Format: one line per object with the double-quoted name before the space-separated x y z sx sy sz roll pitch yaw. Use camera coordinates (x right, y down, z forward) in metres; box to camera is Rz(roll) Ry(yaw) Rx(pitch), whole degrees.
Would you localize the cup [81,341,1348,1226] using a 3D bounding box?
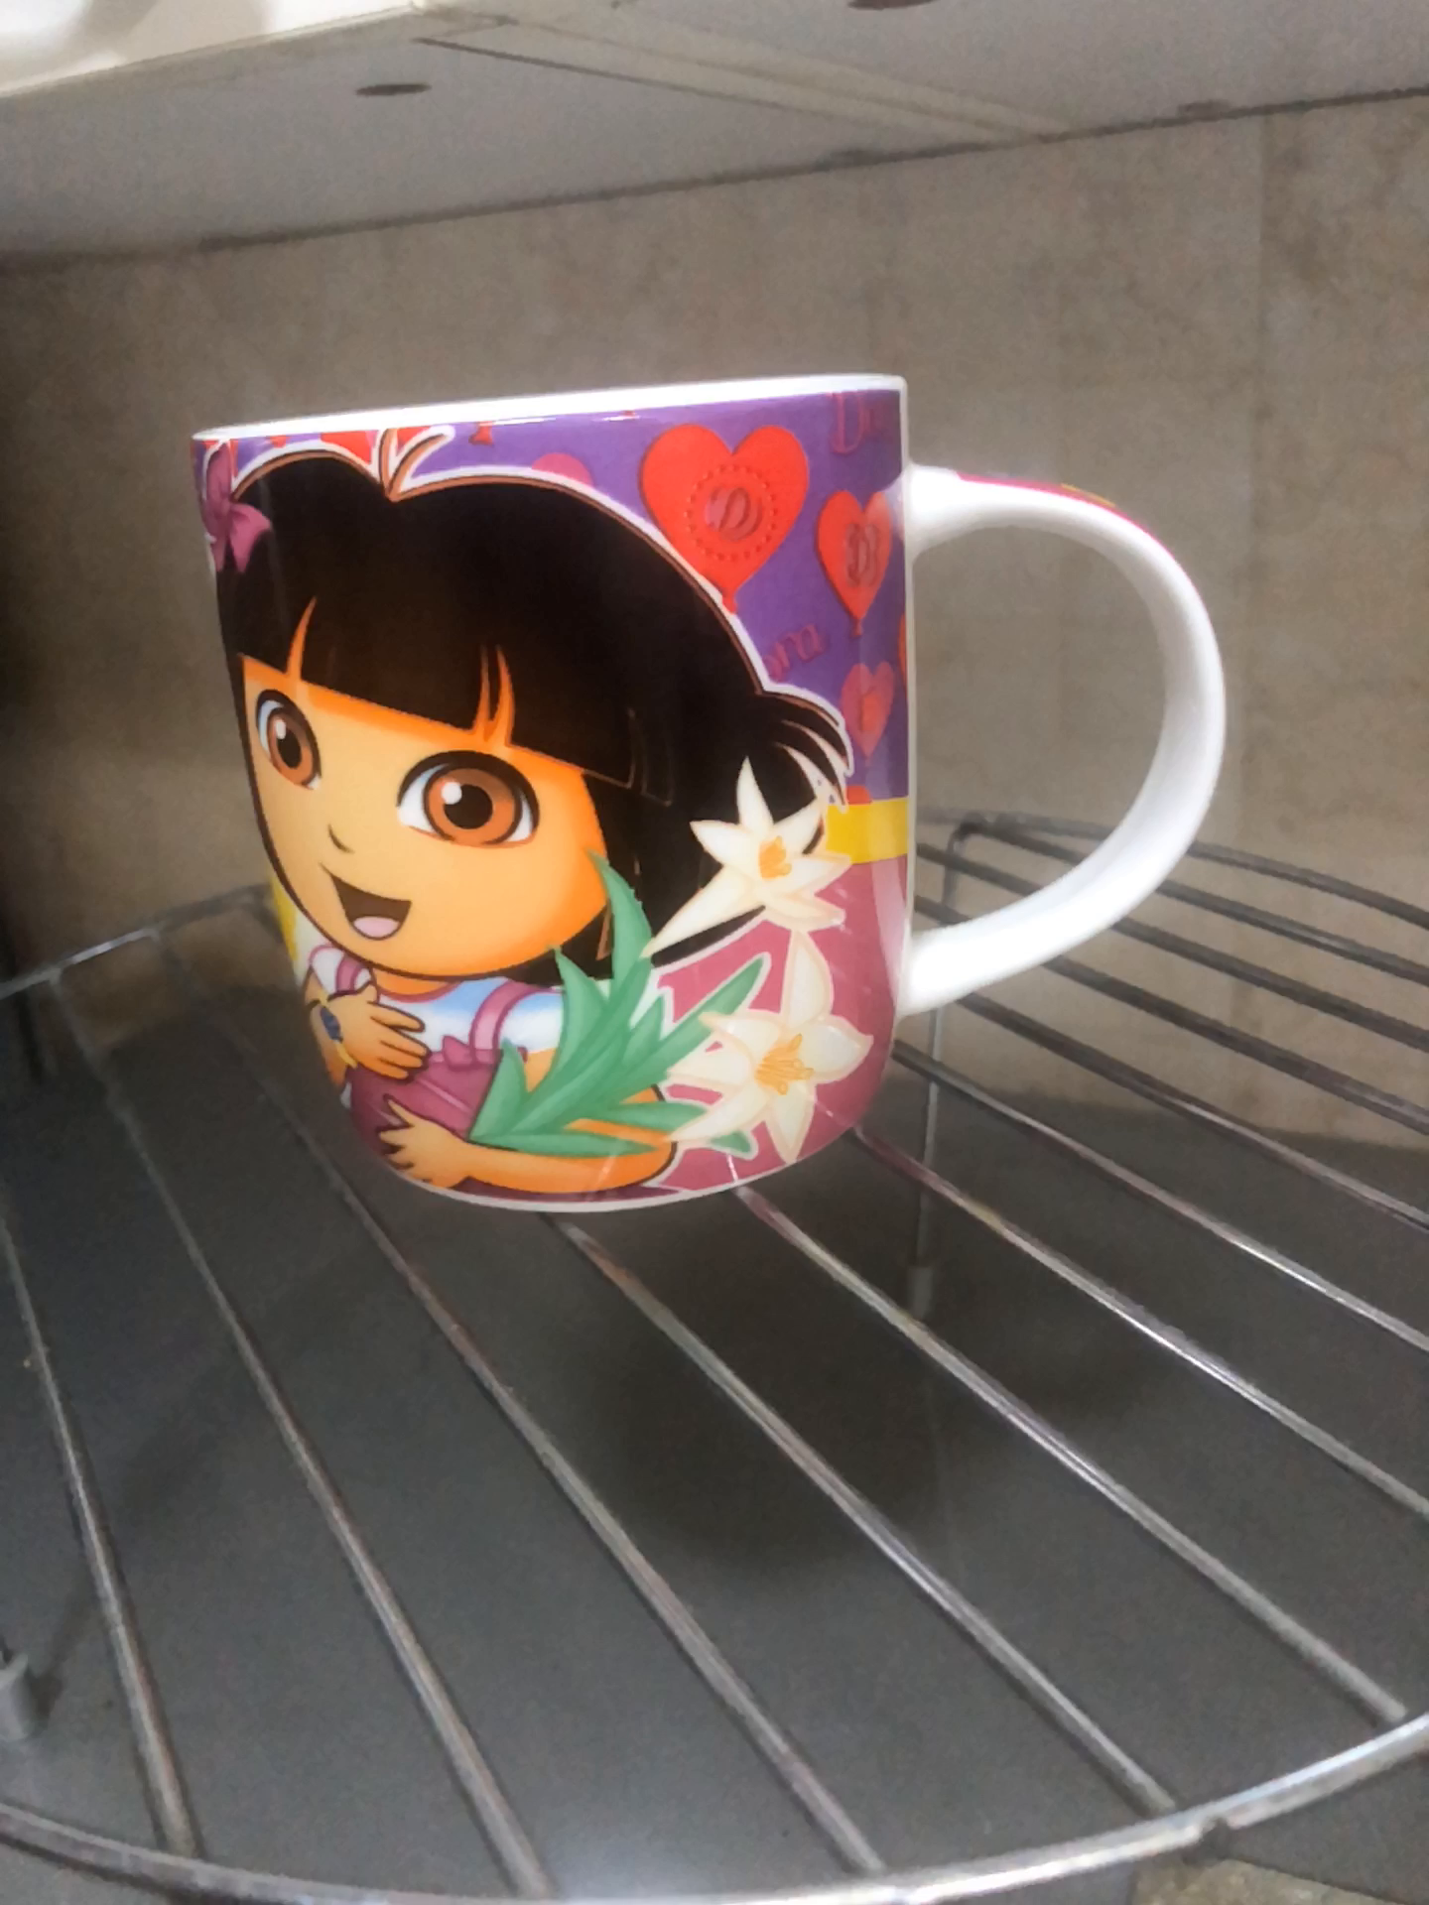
"cup" 0.003 -0.024 0.199 0.120 0.090 0.070 -1 20 6
